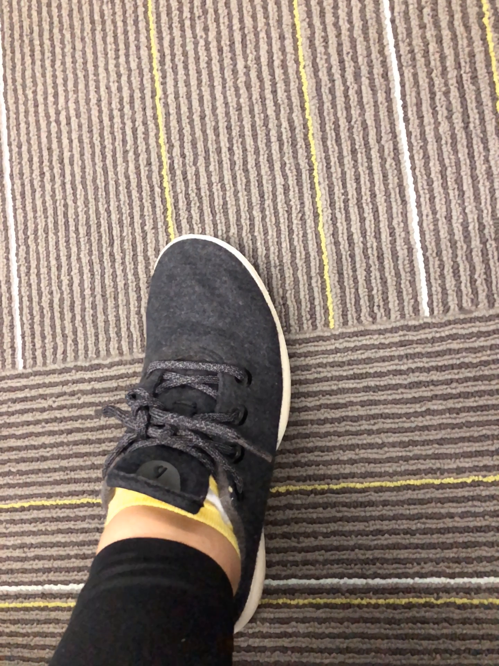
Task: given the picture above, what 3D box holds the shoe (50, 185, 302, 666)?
[{"bbox_3d":[-0.039,0.060,0.321,0.120,0.080,0.260,-2,86,14],"label":"shoe"}]
